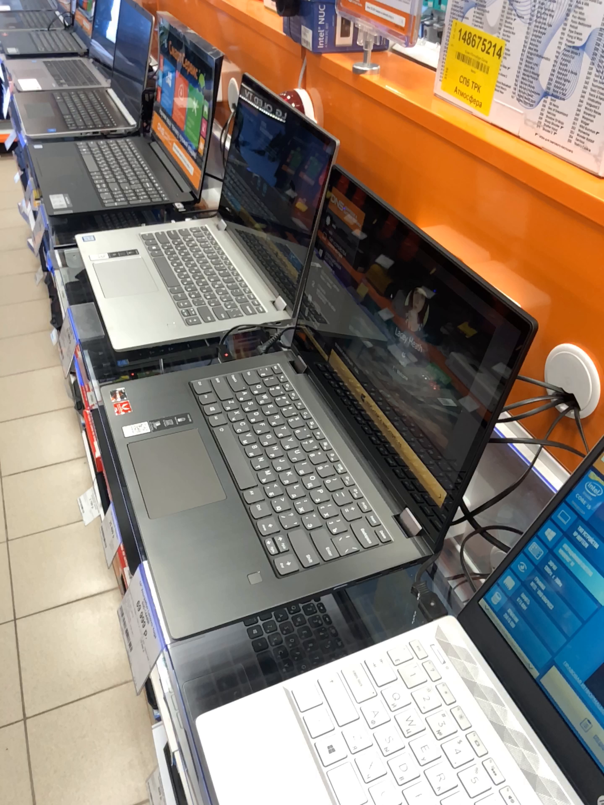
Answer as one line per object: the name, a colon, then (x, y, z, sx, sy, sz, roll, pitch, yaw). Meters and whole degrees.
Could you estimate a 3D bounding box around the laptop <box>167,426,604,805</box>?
laptop: (0.132, 0.204, 0.323, 0.310, 0.160, 0.317, -14, 40, -16)

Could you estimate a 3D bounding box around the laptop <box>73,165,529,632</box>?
laptop: (-0.030, -0.034, 0.582, 0.255, 0.215, 0.321, -13, 41, -18)

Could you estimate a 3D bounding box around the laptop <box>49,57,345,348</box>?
laptop: (-0.140, -0.278, 0.867, 0.286, 0.202, 0.285, -17, 45, -19)
